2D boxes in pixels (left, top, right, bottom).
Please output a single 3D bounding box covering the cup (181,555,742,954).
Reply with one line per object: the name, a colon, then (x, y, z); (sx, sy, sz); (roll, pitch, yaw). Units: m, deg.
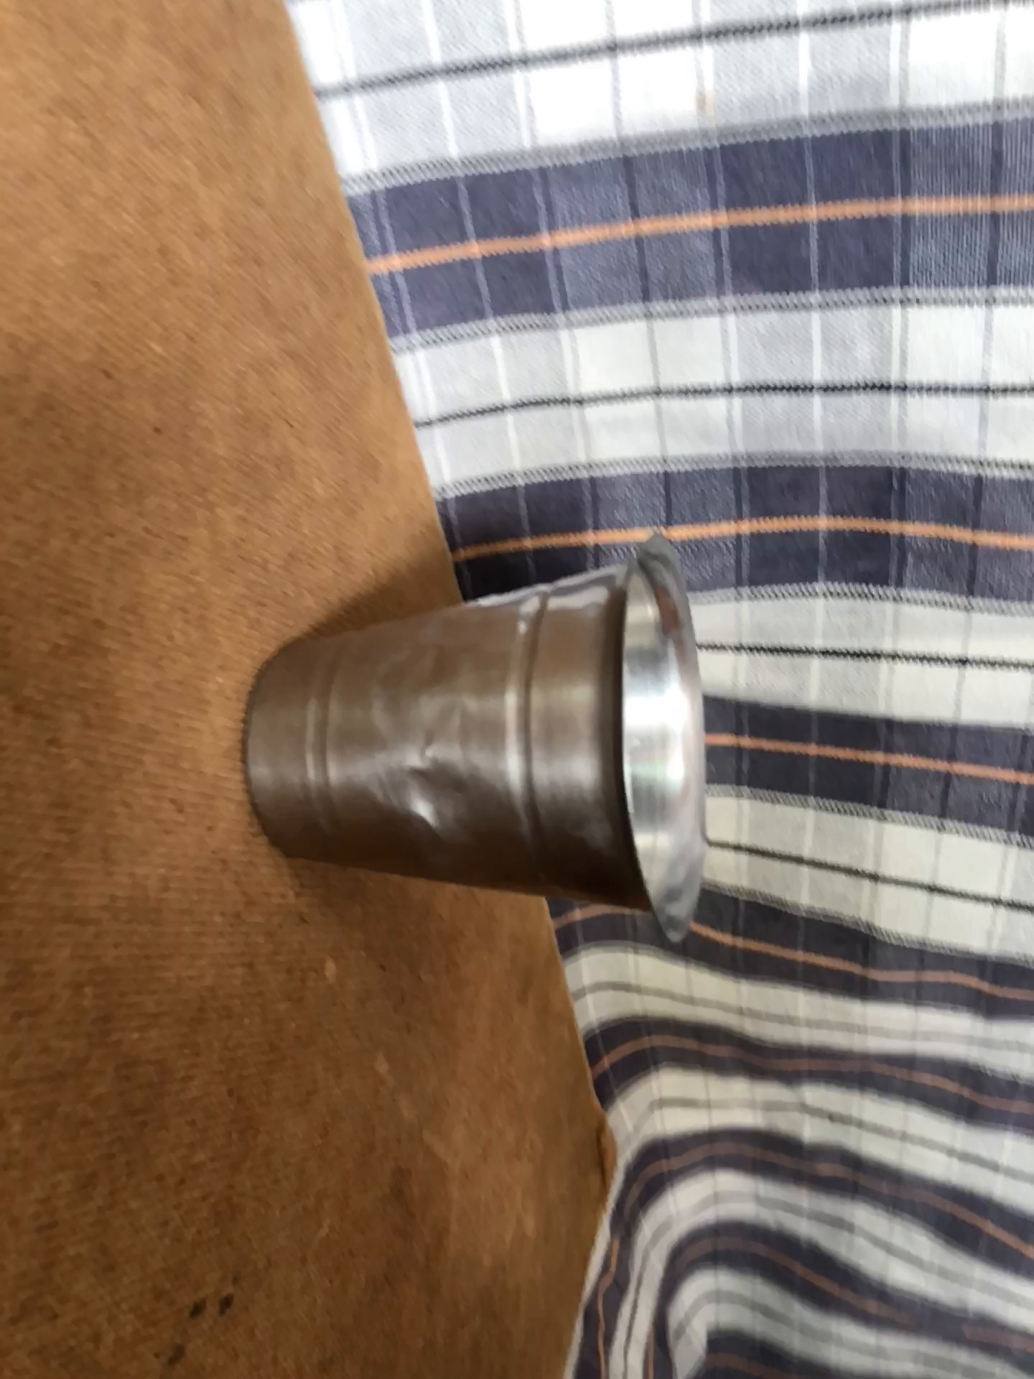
cup: (-0.005, 0.009, 0.216); (0.070, 0.080, 0.060); (-18, 103, -72)
